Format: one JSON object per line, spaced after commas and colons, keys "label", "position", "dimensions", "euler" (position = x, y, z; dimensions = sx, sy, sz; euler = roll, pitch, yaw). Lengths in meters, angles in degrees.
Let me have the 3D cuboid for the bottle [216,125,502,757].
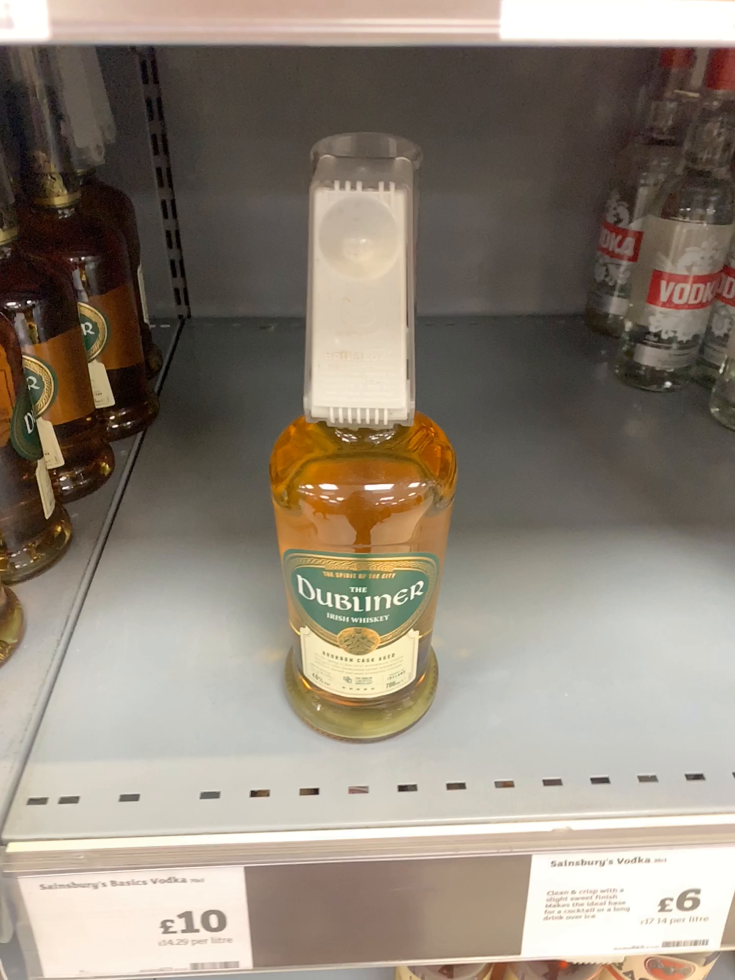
{"label": "bottle", "position": [0.001, -0.005, 0.351], "dimensions": [0.089, 0.283, 0.091], "euler": [0, 36, 0]}
